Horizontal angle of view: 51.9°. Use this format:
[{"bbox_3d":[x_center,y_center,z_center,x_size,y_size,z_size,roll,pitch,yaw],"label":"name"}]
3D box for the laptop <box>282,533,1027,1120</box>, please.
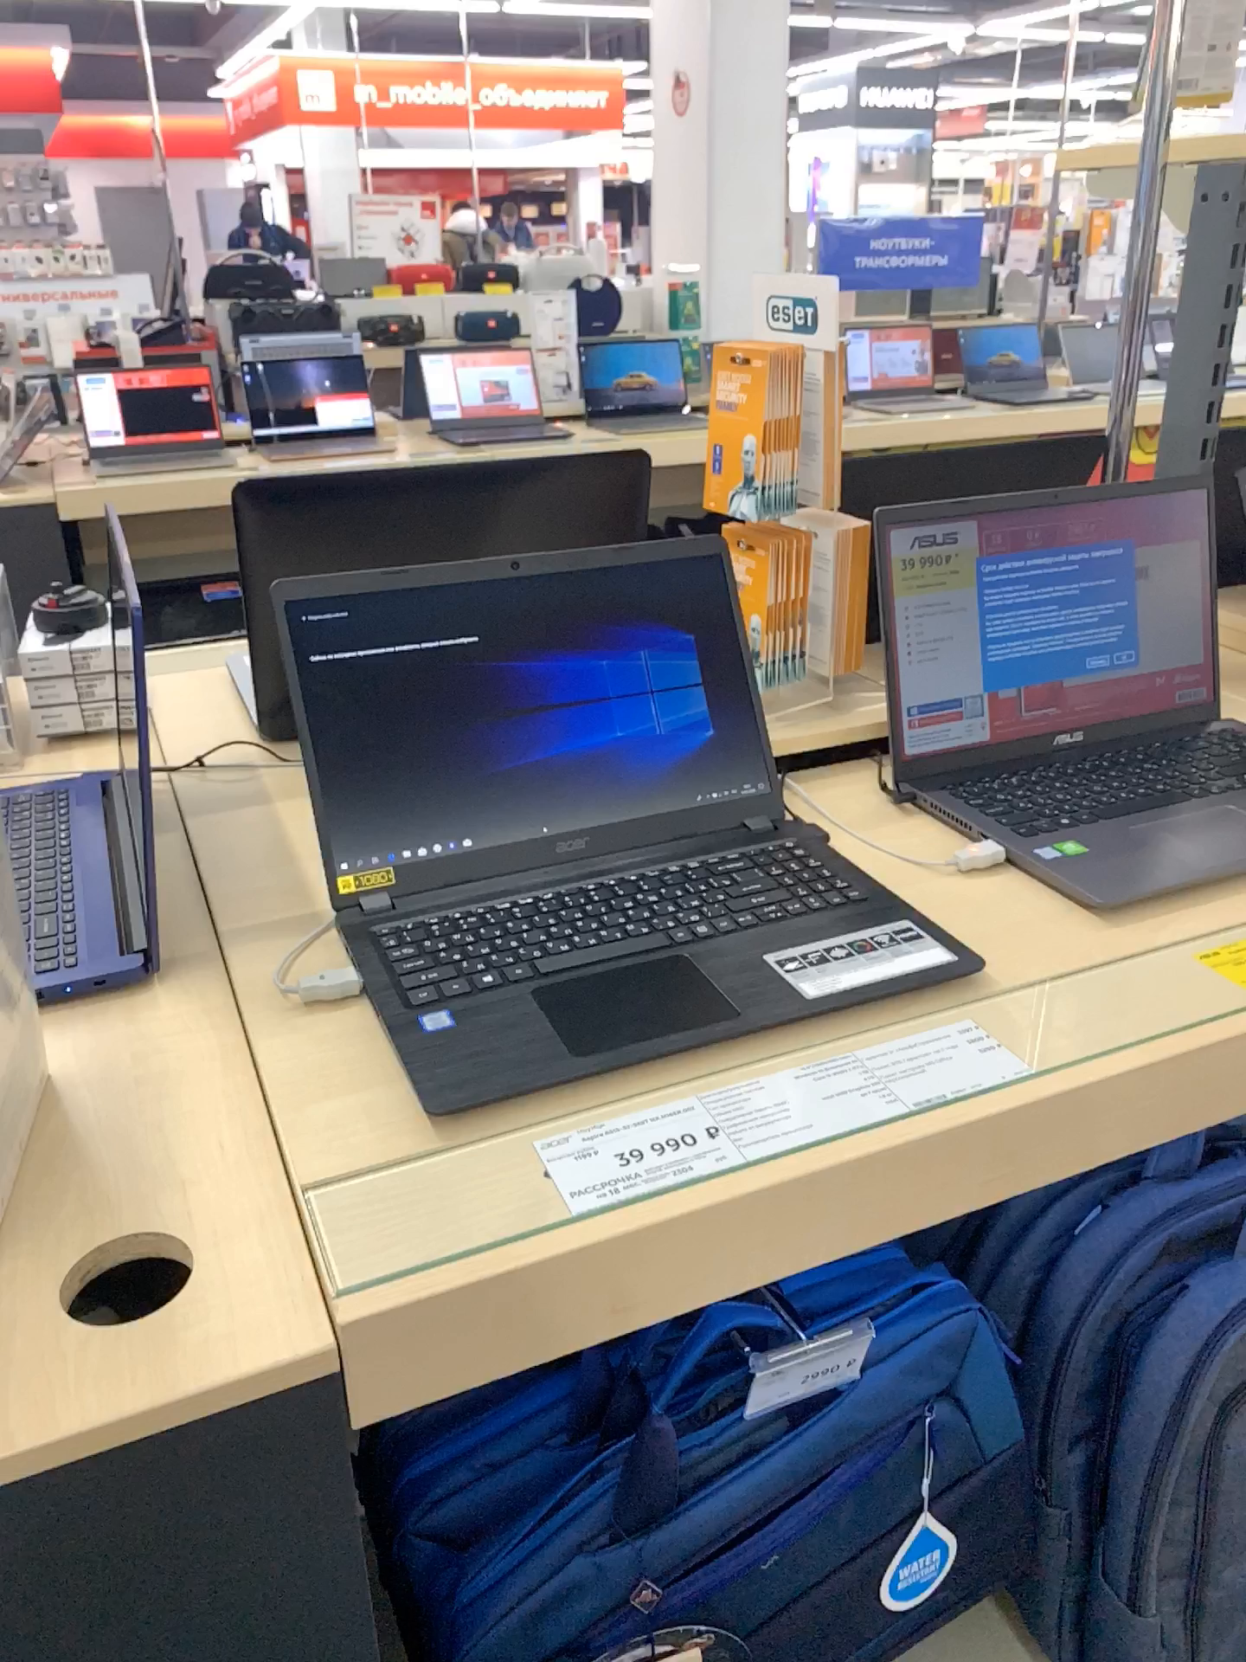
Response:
[{"bbox_3d":[-0.002,-0.046,0.888,0.376,0.216,0.377,-11,26,-22],"label":"laptop"}]
